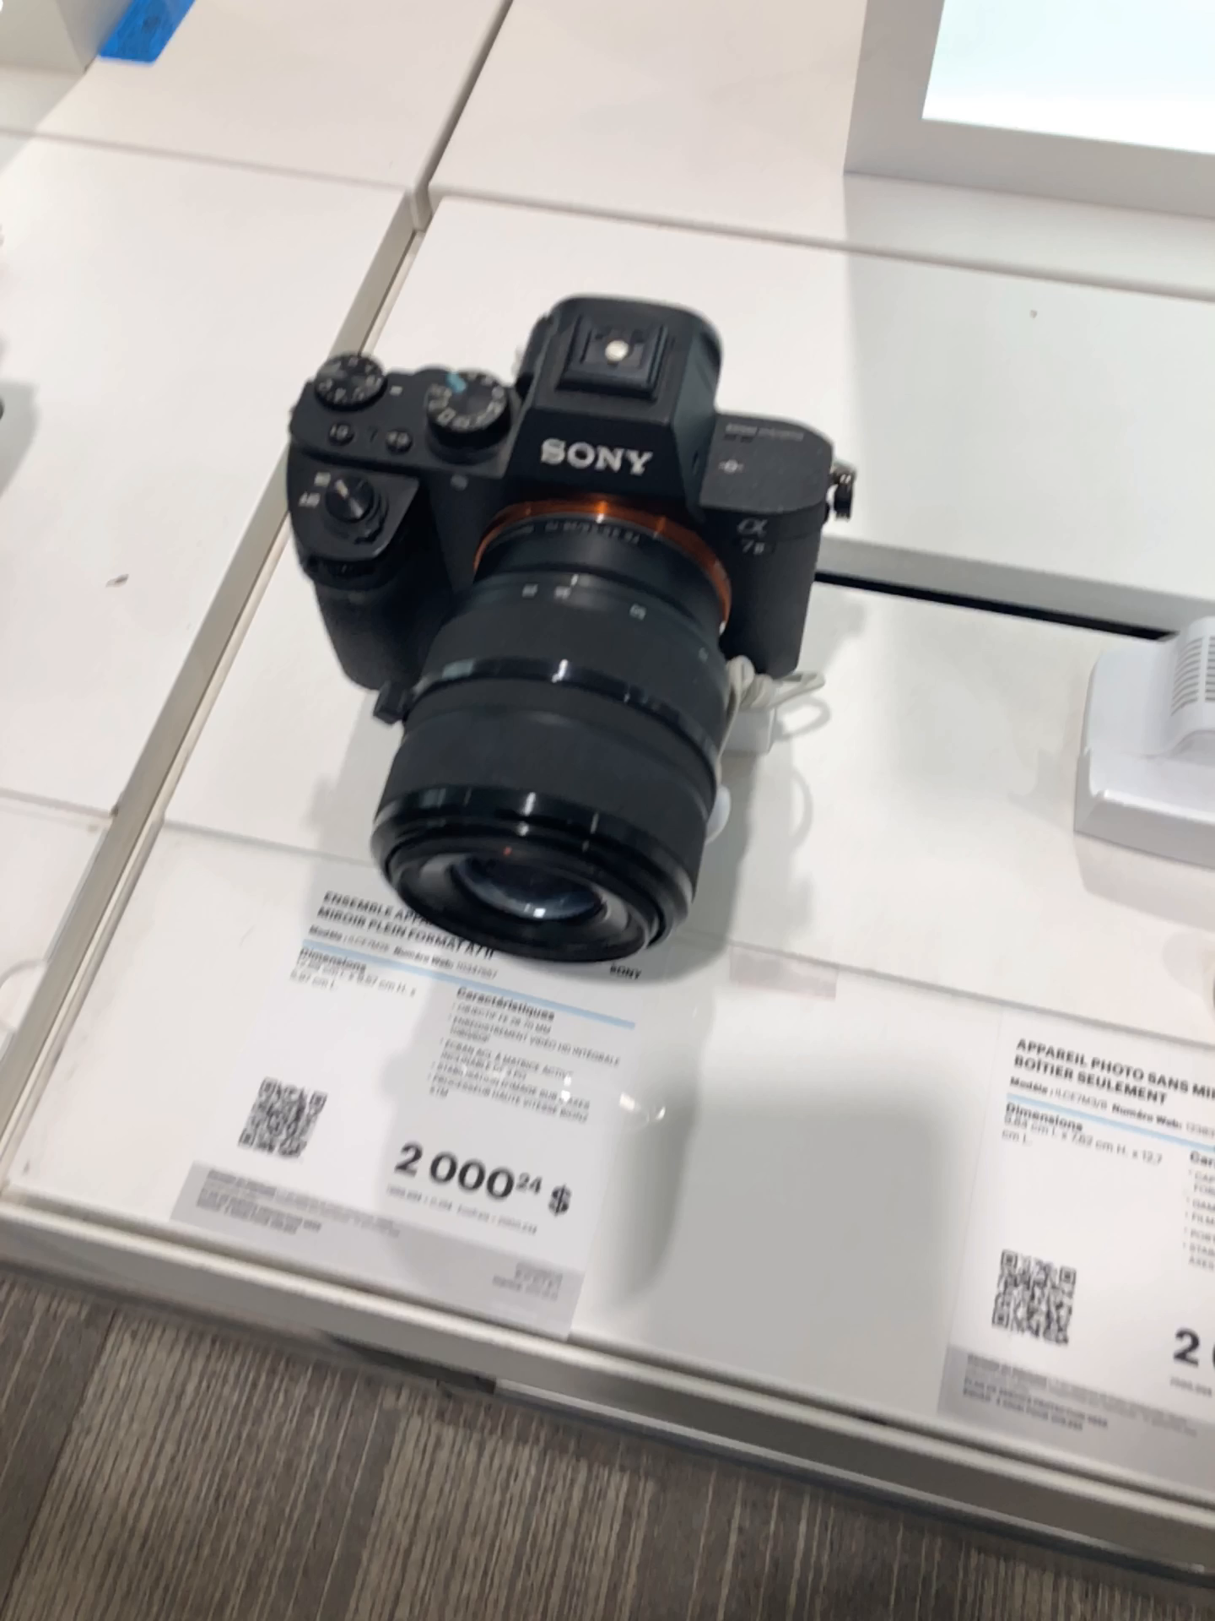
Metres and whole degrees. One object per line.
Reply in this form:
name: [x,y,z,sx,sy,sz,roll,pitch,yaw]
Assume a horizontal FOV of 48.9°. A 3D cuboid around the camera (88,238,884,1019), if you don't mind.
camera: [-0.016,-0.041,0.313,0.134,0.099,0.131,9,62,7]
